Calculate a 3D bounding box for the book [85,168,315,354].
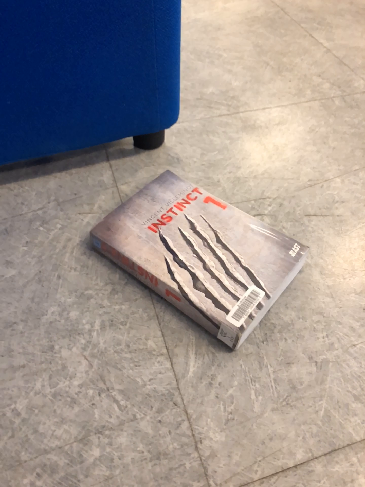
[{"bbox_3d":[0.018,0.004,0.454,0.210,0.028,0.143,32,56,23],"label":"book"}]
